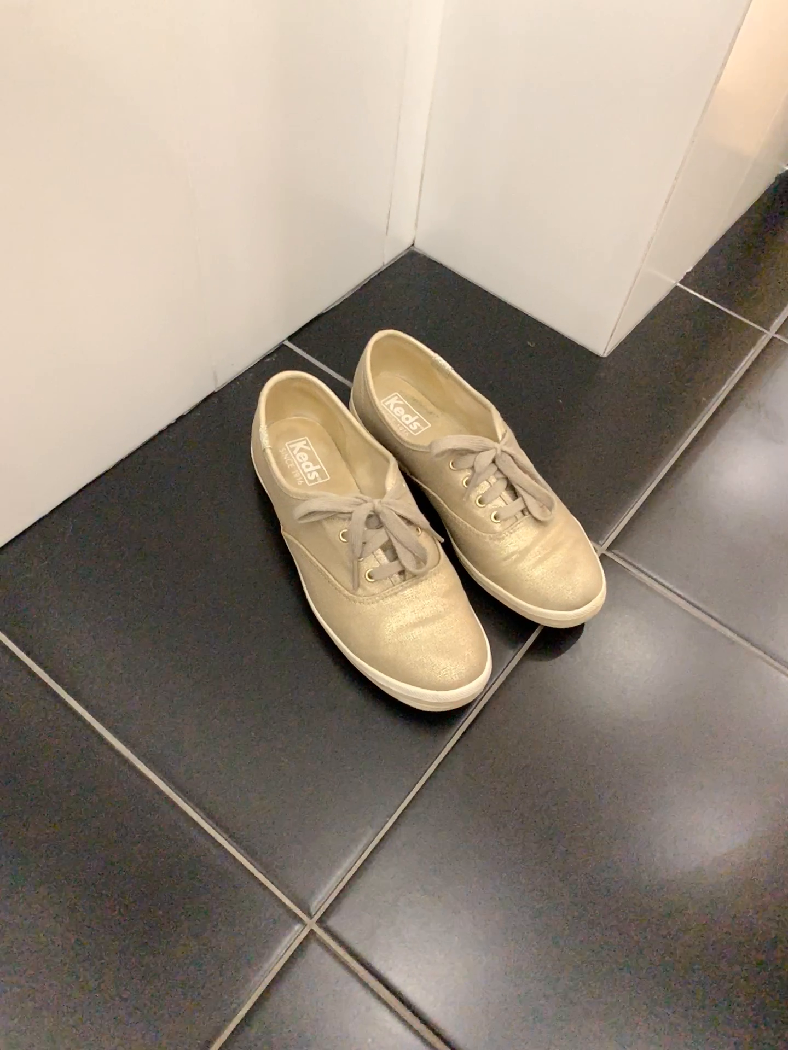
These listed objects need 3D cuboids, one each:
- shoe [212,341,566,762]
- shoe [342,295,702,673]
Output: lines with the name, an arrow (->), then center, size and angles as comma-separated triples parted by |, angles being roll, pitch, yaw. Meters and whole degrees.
shoe -> -0.015, 0.009, 0.497 | 0.090, 0.100, 0.231 | -26, 61, -23
shoe -> 0.070, -0.034, 0.541 | 0.090, 0.100, 0.230 | -29, 63, -24
